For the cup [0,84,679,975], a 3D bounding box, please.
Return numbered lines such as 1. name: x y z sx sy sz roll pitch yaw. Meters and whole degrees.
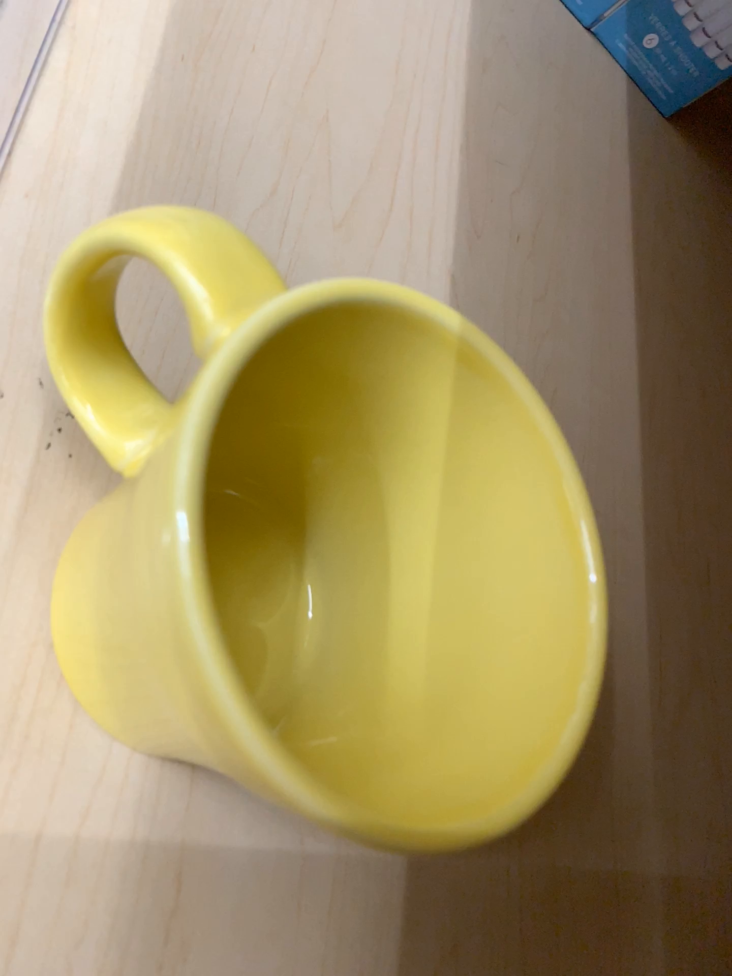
1. cup: -0.018 0.011 0.169 0.104 0.088 0.139 -44 106 -40
